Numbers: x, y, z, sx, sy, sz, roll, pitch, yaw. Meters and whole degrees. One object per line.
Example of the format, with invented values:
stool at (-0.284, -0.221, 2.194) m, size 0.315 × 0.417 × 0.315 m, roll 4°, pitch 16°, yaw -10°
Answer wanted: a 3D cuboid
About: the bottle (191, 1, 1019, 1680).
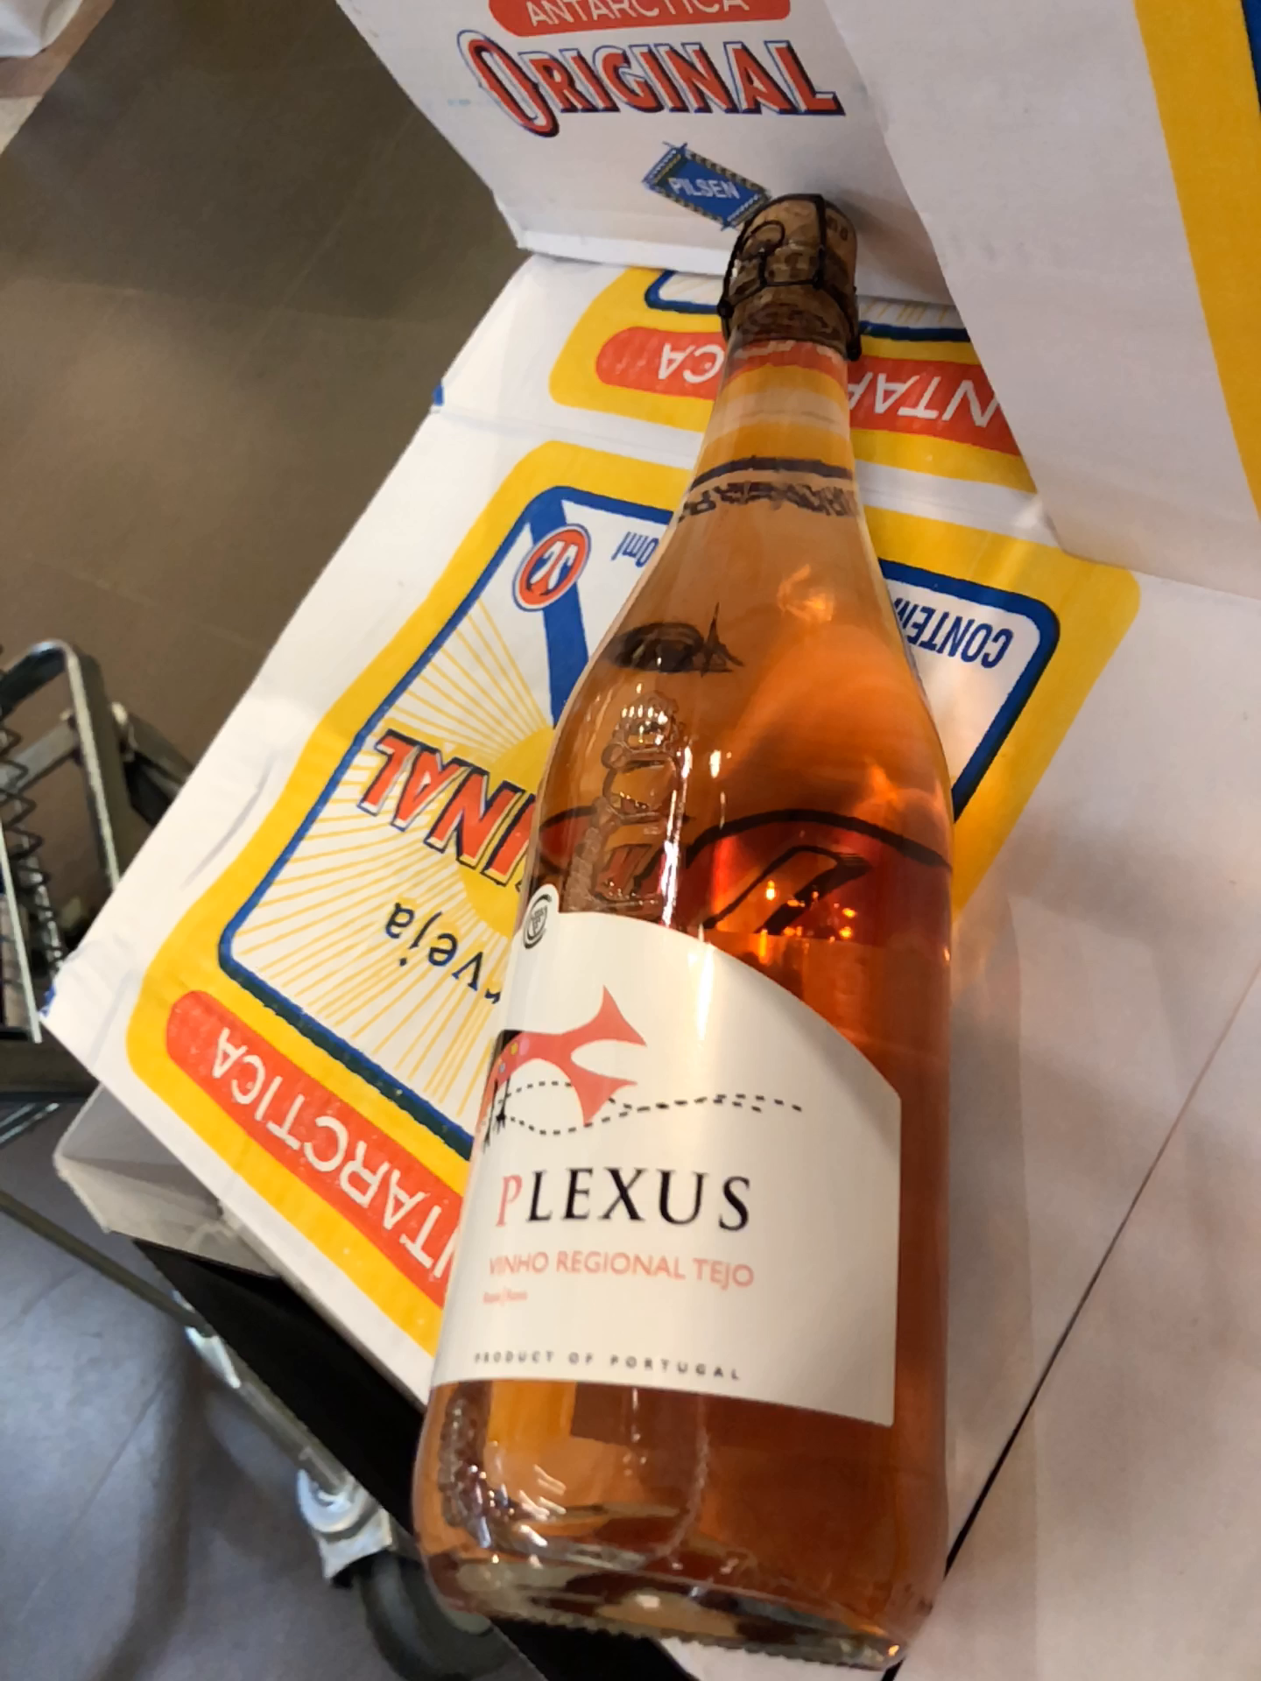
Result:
bottle at (0.015, -0.018, 0.259) m, size 0.090 × 0.070 × 0.291 m, roll -10°, pitch 57°, yaw 29°
